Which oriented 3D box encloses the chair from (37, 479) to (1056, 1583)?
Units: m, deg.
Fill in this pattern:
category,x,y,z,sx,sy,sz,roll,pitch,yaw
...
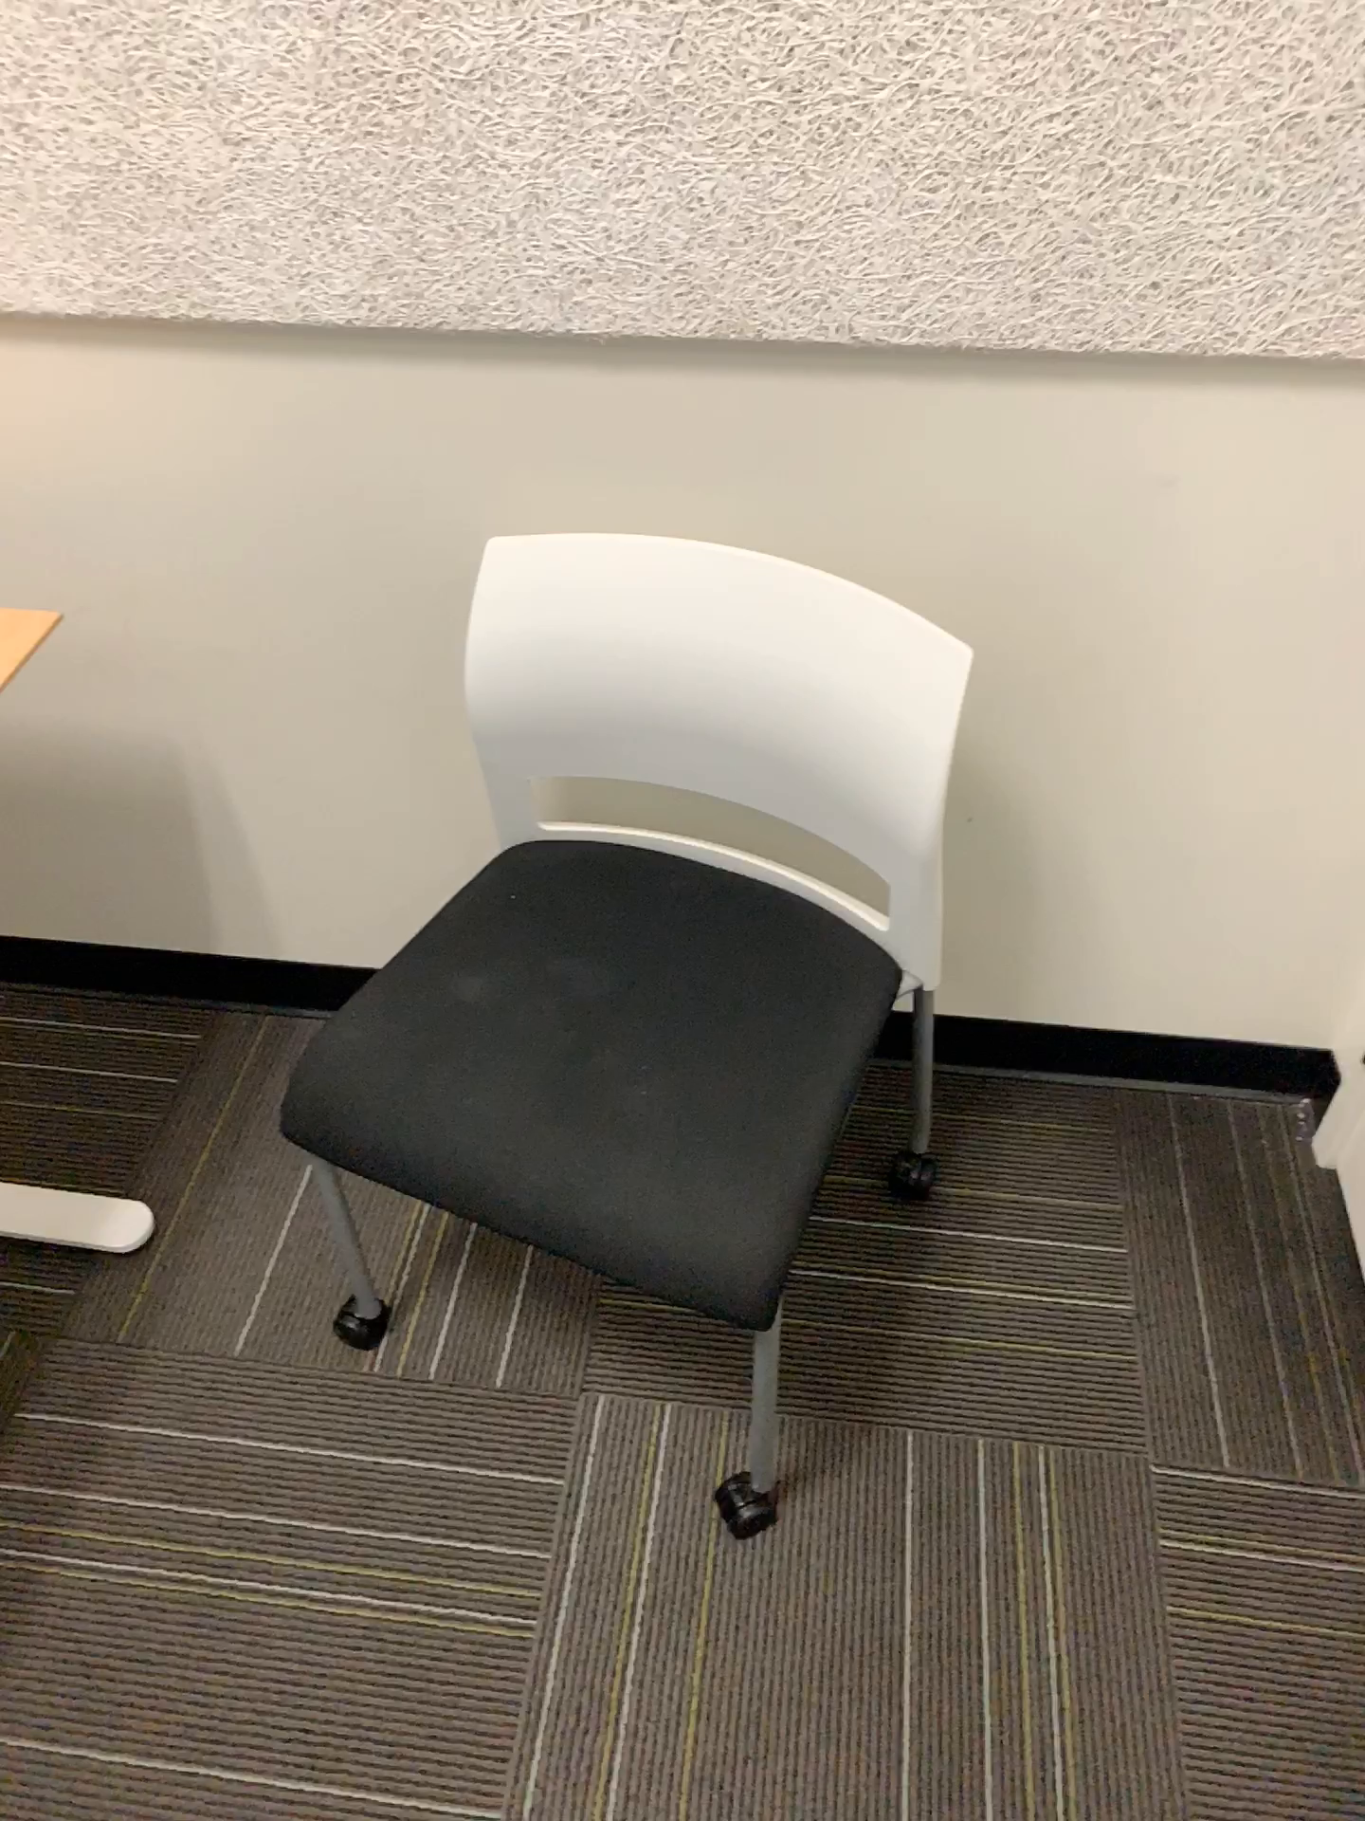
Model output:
category,x,y,z,sx,sy,sz,roll,pitch,yaw
chair,-0.064,0.111,1.310,0.581,0.736,0.542,17,48,18
